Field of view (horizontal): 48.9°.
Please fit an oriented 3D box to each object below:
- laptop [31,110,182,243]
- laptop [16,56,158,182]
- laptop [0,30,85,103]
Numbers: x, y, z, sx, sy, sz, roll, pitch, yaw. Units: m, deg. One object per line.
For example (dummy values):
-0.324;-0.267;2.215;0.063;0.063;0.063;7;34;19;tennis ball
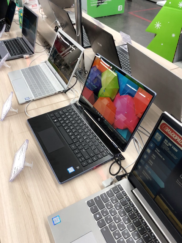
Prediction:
0.116;0.205;0.348;0.329;0.218;0.353;-18;43;-20;laptop
-0.031;-0.042;0.681;0.326;0.194;0.327;-20;44;-23;laptop
-0.238;-0.288;0.986;0.323;0.171;0.293;-20;46;-21;laptop
